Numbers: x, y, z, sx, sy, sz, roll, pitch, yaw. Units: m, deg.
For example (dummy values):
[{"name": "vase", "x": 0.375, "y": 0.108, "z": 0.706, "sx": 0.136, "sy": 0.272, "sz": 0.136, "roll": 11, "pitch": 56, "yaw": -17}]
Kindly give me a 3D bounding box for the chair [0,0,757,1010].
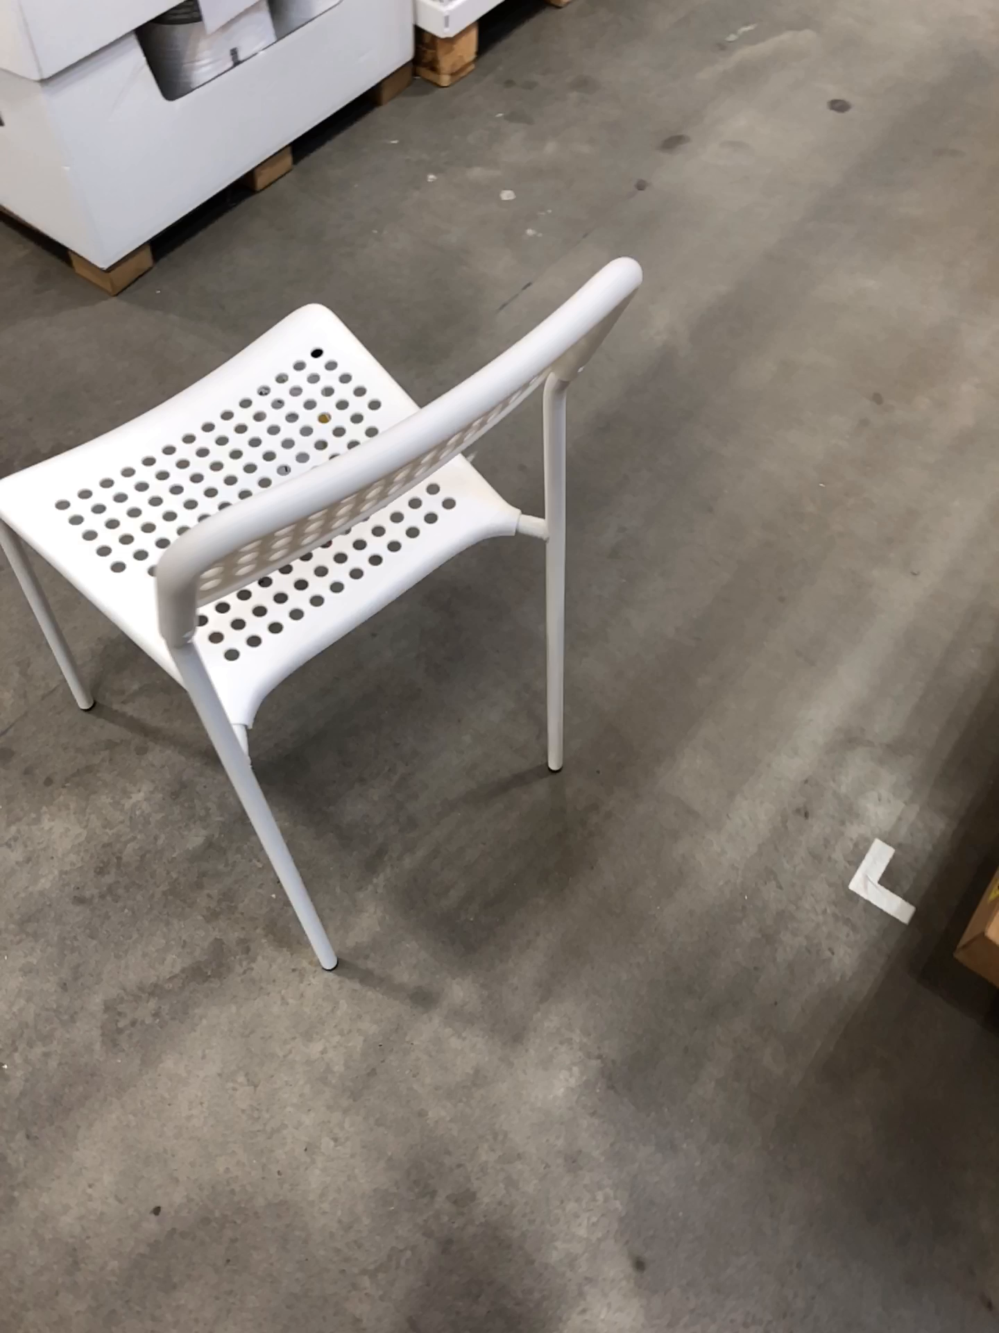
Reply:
[{"name": "chair", "x": -0.195, "y": -0.126, "z": 0.981, "sx": 0.460, "sy": 0.699, "sz": 0.510, "roll": -36, "pitch": 67, "yaw": -21}]
